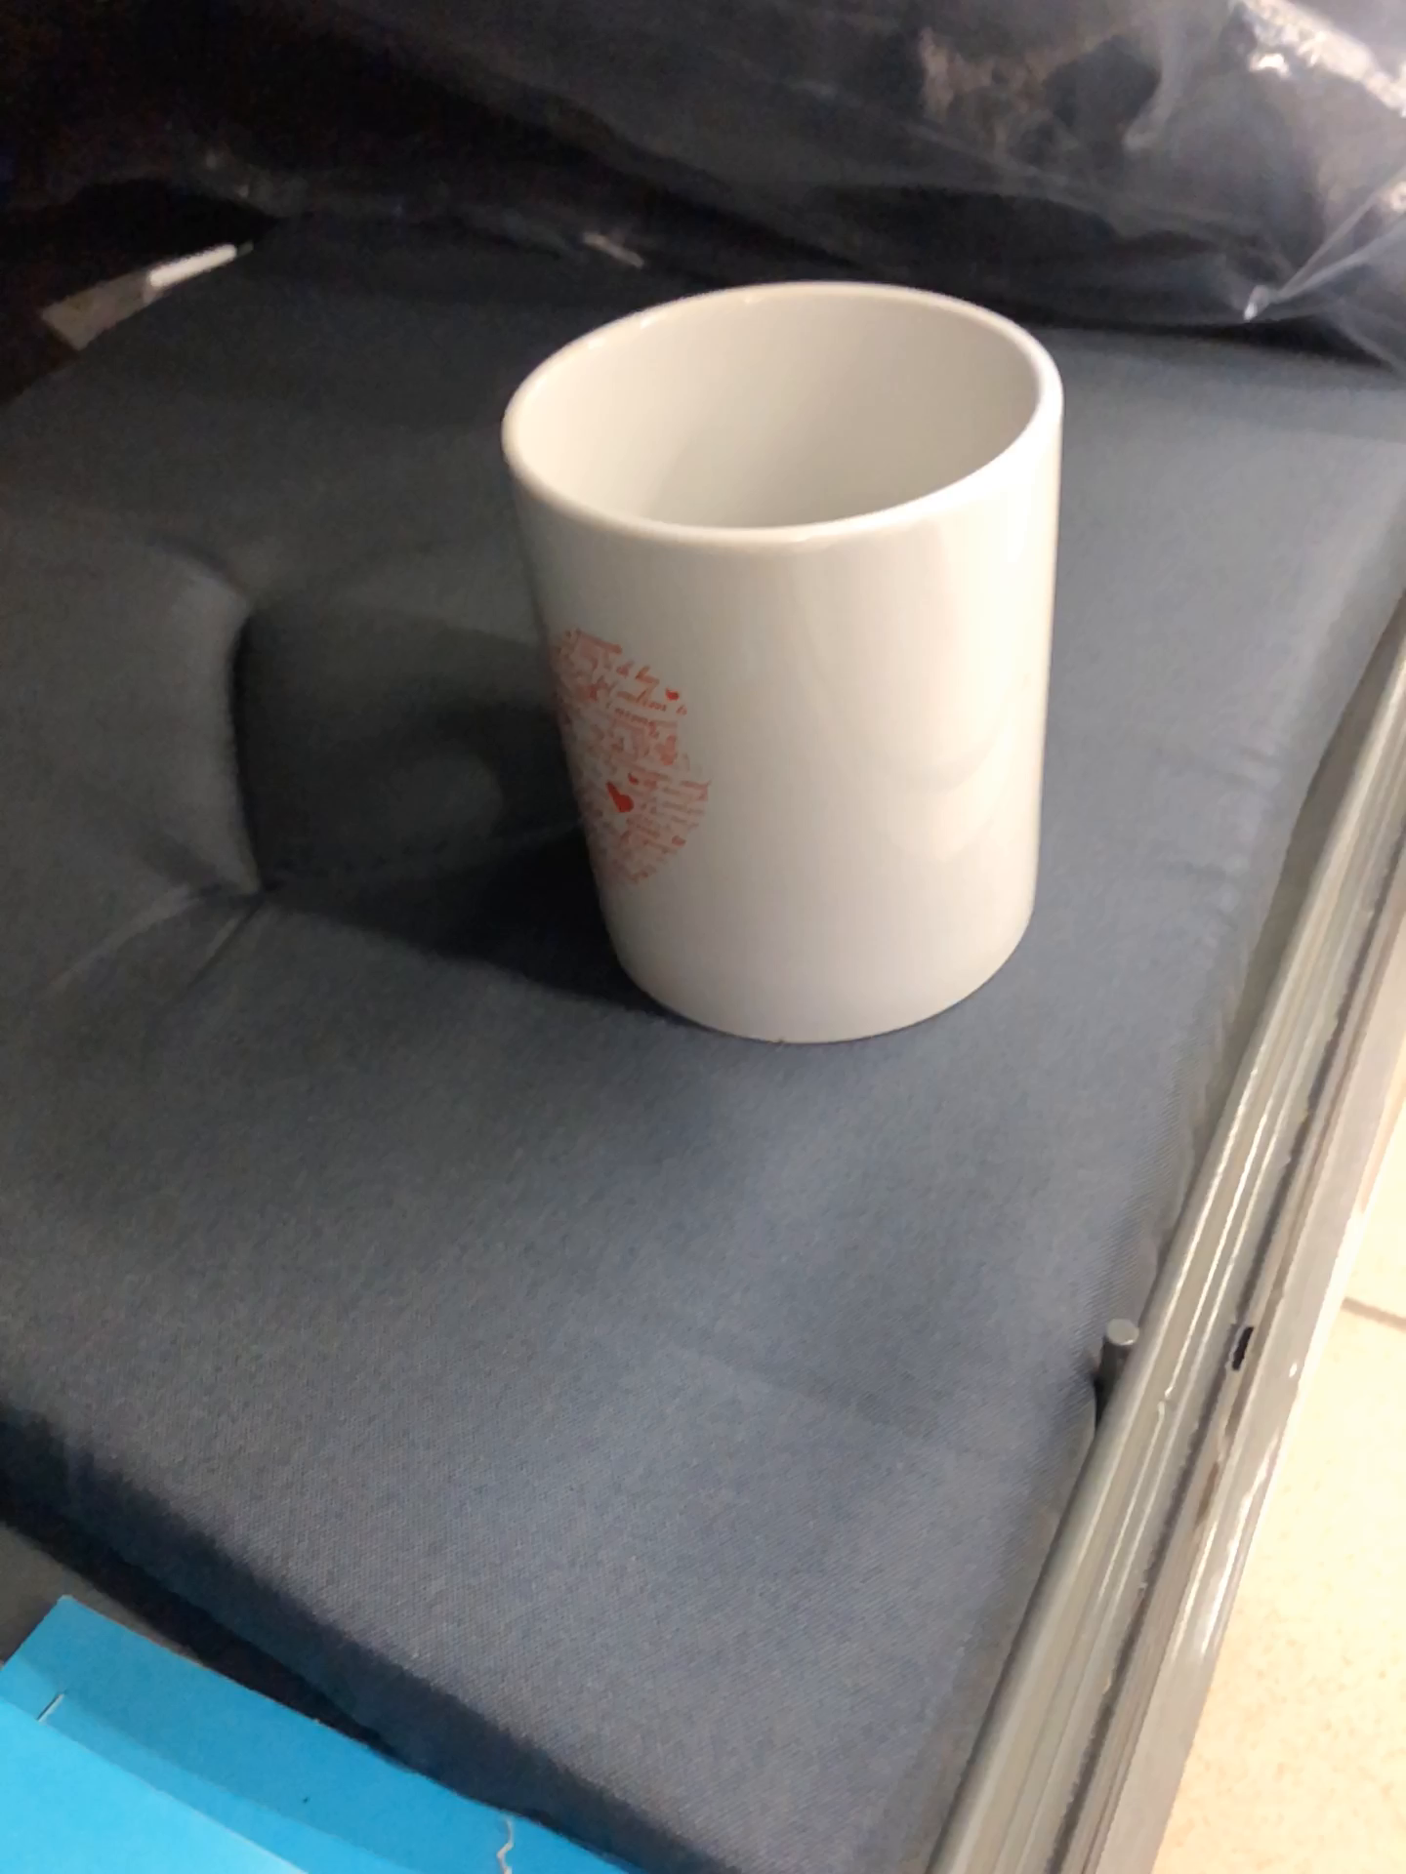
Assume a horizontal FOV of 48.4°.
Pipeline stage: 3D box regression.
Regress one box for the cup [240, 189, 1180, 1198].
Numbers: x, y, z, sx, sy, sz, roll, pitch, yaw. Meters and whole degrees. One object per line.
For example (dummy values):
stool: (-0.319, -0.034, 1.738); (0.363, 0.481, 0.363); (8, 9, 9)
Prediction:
cup: (-0.001, -0.047, 0.267); (0.090, 0.099, 0.120); (-27, 48, -18)
